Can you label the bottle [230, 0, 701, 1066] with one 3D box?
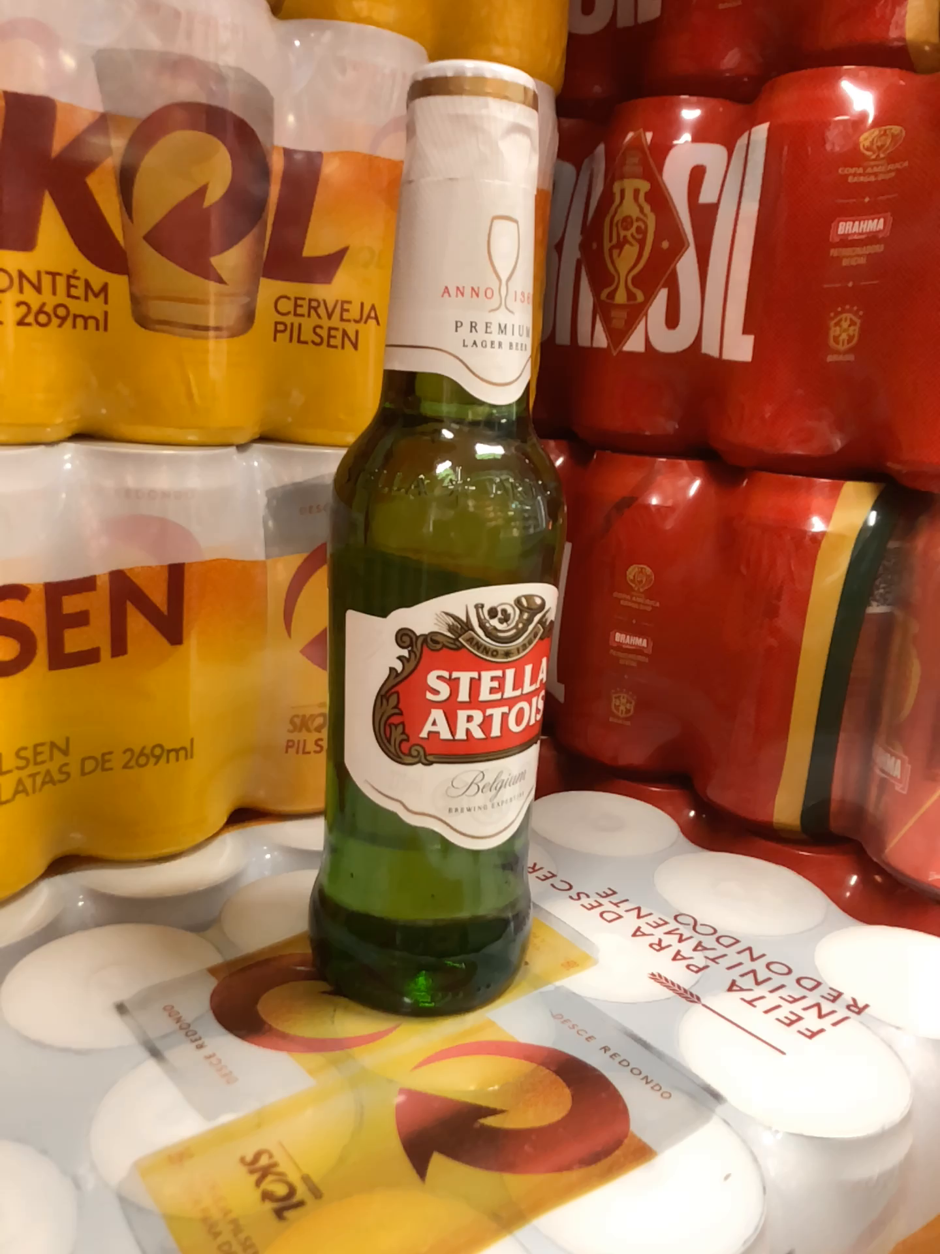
[{"bbox_3d":[-0.007,-0.020,0.247,0.070,0.219,0.060,-8,20,-41],"label":"bottle"}]
